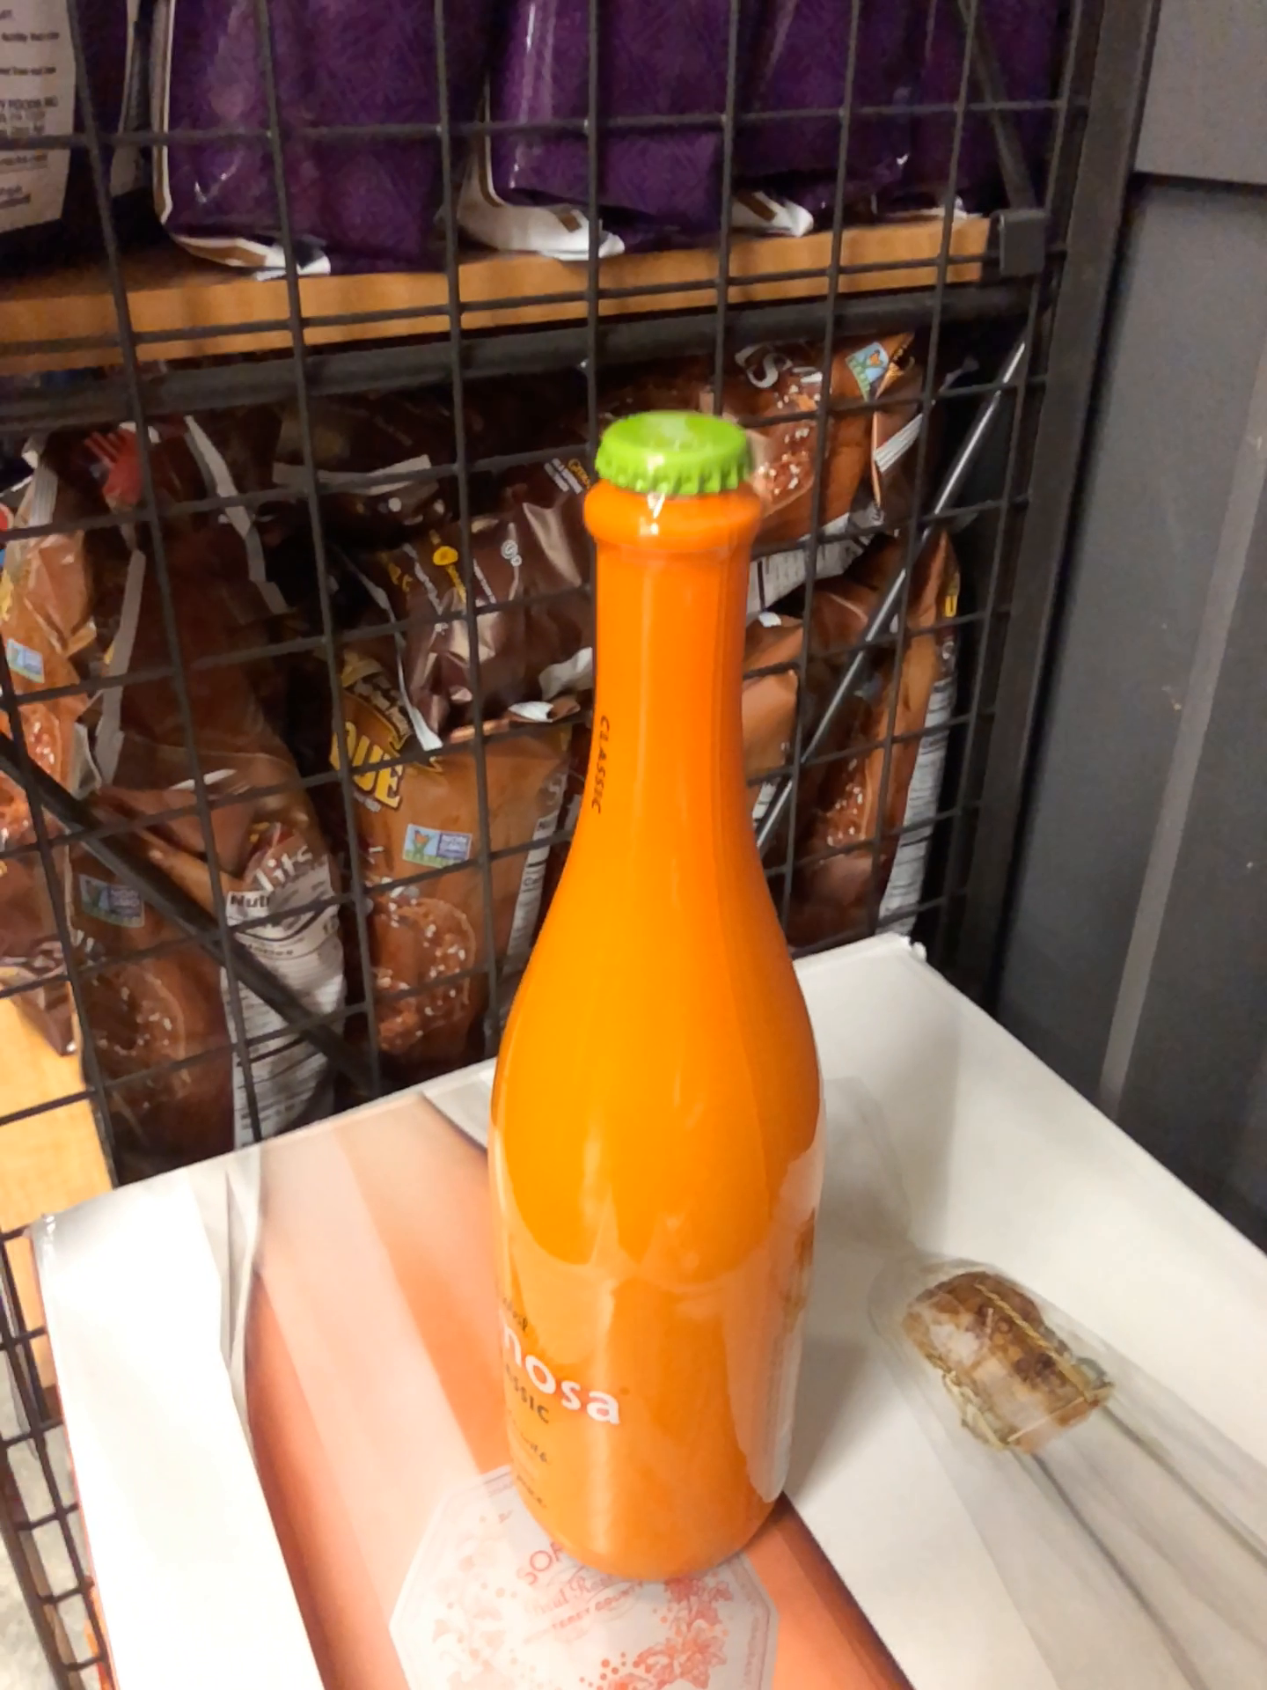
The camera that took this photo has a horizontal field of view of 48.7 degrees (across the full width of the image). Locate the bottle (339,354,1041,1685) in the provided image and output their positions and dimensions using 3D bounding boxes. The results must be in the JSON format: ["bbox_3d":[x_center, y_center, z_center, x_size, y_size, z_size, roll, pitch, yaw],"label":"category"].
[{"bbox_3d":[0.005,0.046,0.316,0.090,0.279,0.090,0,29,0],"label":"bottle"}]
